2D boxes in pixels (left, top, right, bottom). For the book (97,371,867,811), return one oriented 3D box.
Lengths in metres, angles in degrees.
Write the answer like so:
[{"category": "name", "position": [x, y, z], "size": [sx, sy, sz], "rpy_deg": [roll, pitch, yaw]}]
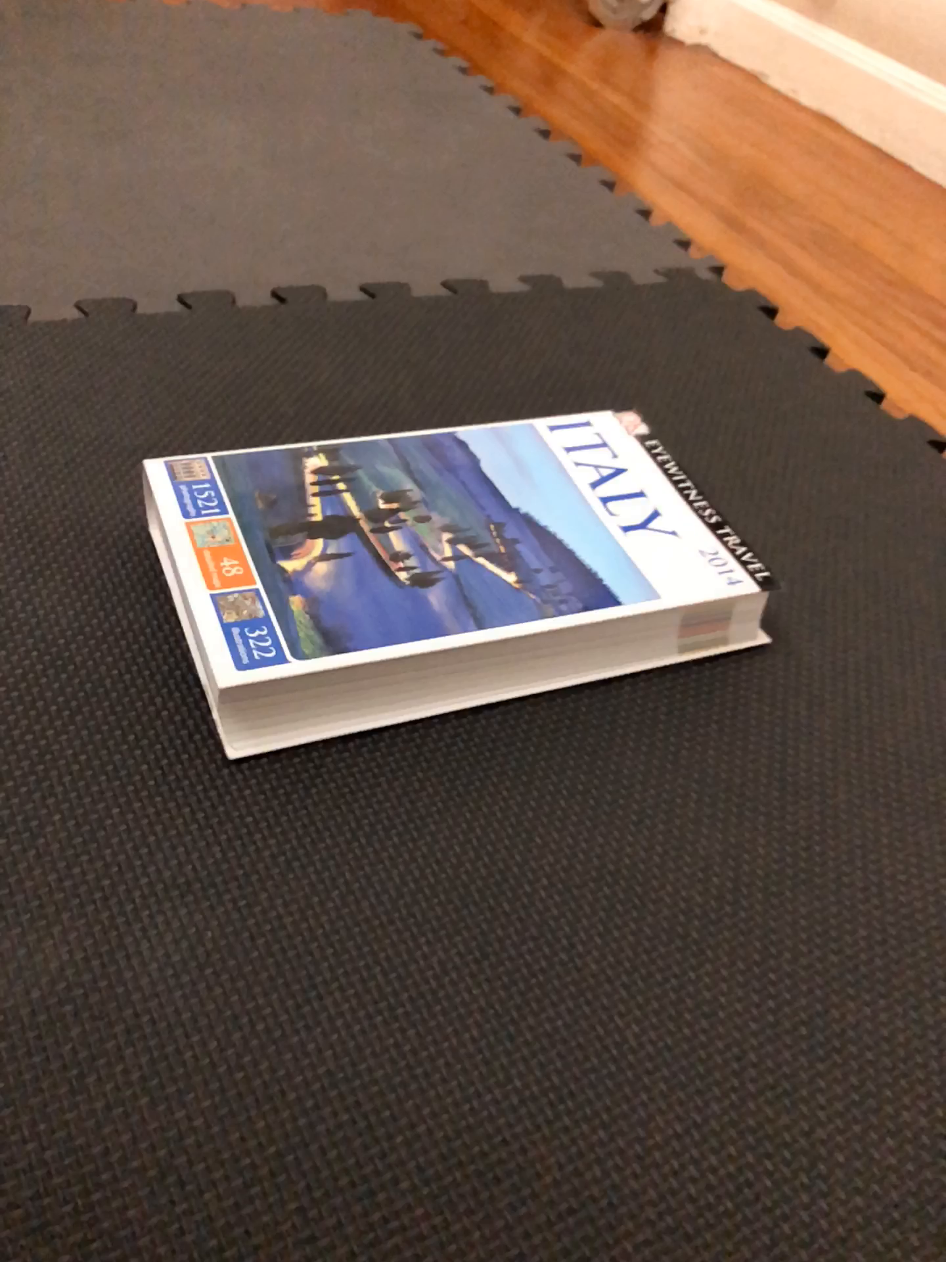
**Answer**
[{"category": "book", "position": [0.000, -0.034, 0.407], "size": [0.250, 0.040, 0.161], "rpy_deg": [-11, 46, -23]}]
